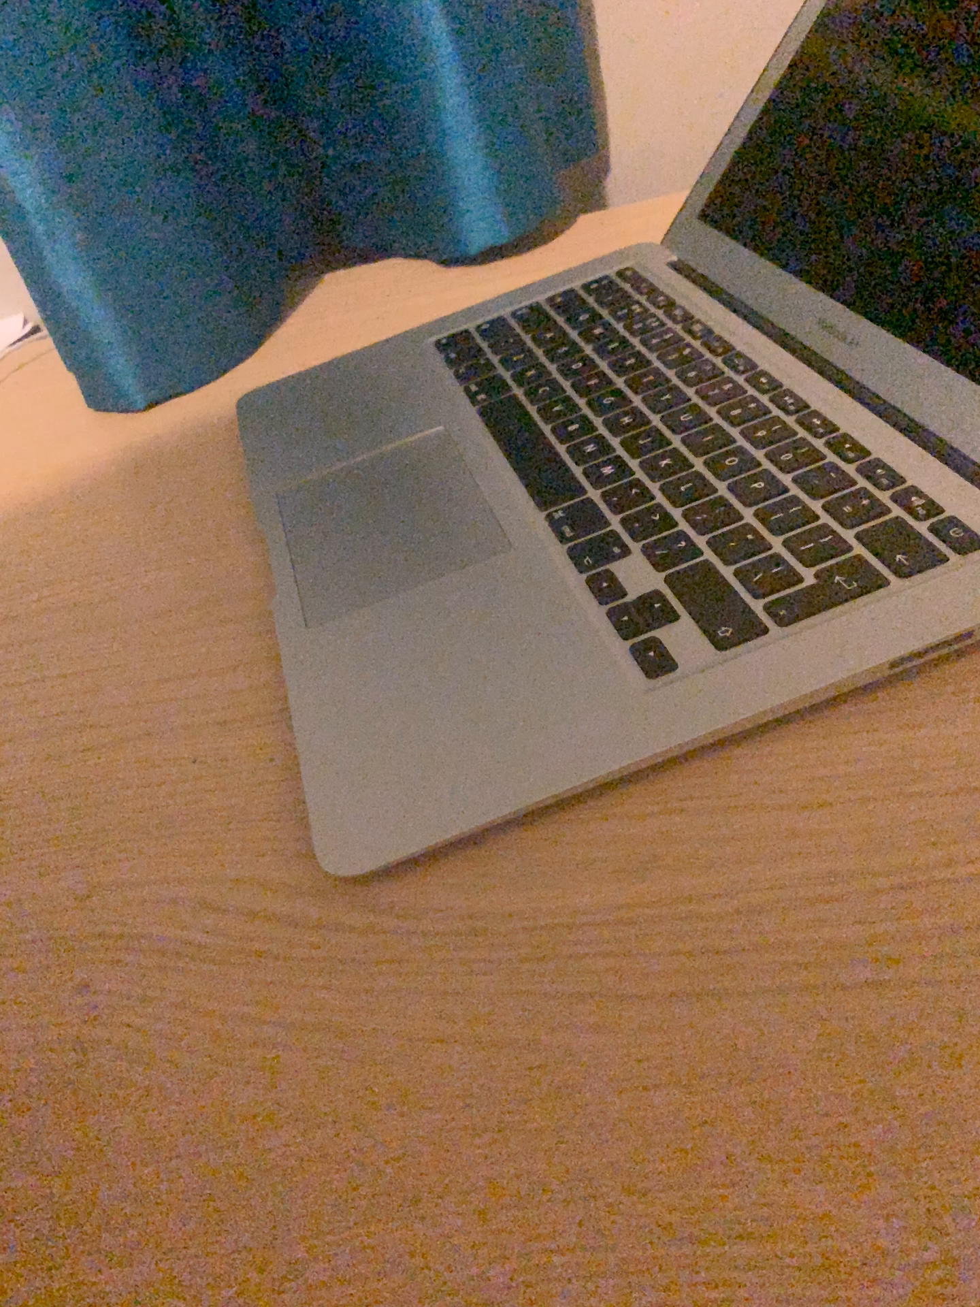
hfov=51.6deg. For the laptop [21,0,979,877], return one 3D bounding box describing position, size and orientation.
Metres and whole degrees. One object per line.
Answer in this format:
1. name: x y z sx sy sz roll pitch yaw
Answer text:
1. laptop: 0.075 -0.154 0.331 0.368 0.144 0.304 -21 39 -4
